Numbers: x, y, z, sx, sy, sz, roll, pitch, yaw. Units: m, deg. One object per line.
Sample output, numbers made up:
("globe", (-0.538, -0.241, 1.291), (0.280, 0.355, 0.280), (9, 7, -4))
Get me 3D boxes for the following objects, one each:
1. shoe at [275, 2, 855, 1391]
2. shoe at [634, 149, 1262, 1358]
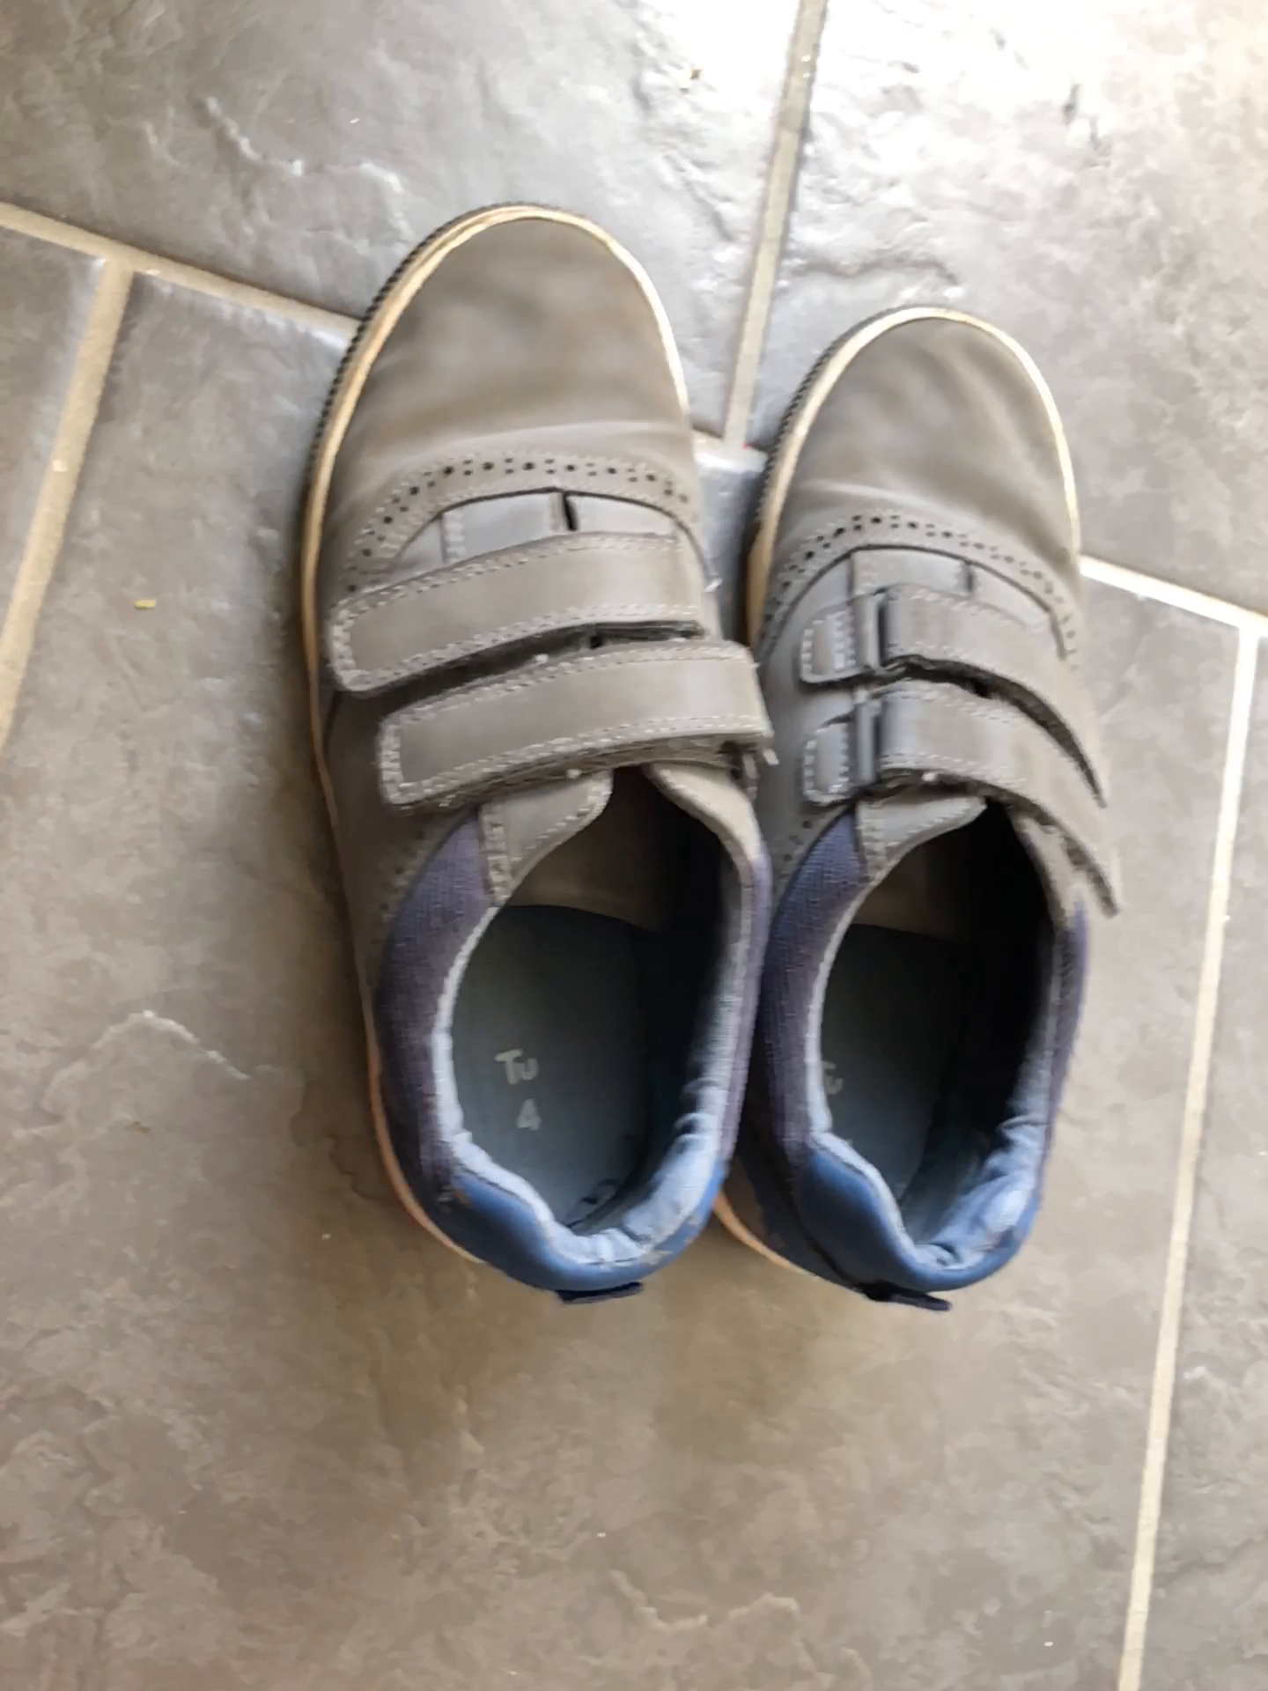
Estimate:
("shoe", (-0.021, -0.029, 0.299), (0.100, 0.070, 0.250), (0, 84, -17))
("shoe", (0.075, -0.019, 0.339), (0.100, 0.070, 0.250), (11, 81, -16))
